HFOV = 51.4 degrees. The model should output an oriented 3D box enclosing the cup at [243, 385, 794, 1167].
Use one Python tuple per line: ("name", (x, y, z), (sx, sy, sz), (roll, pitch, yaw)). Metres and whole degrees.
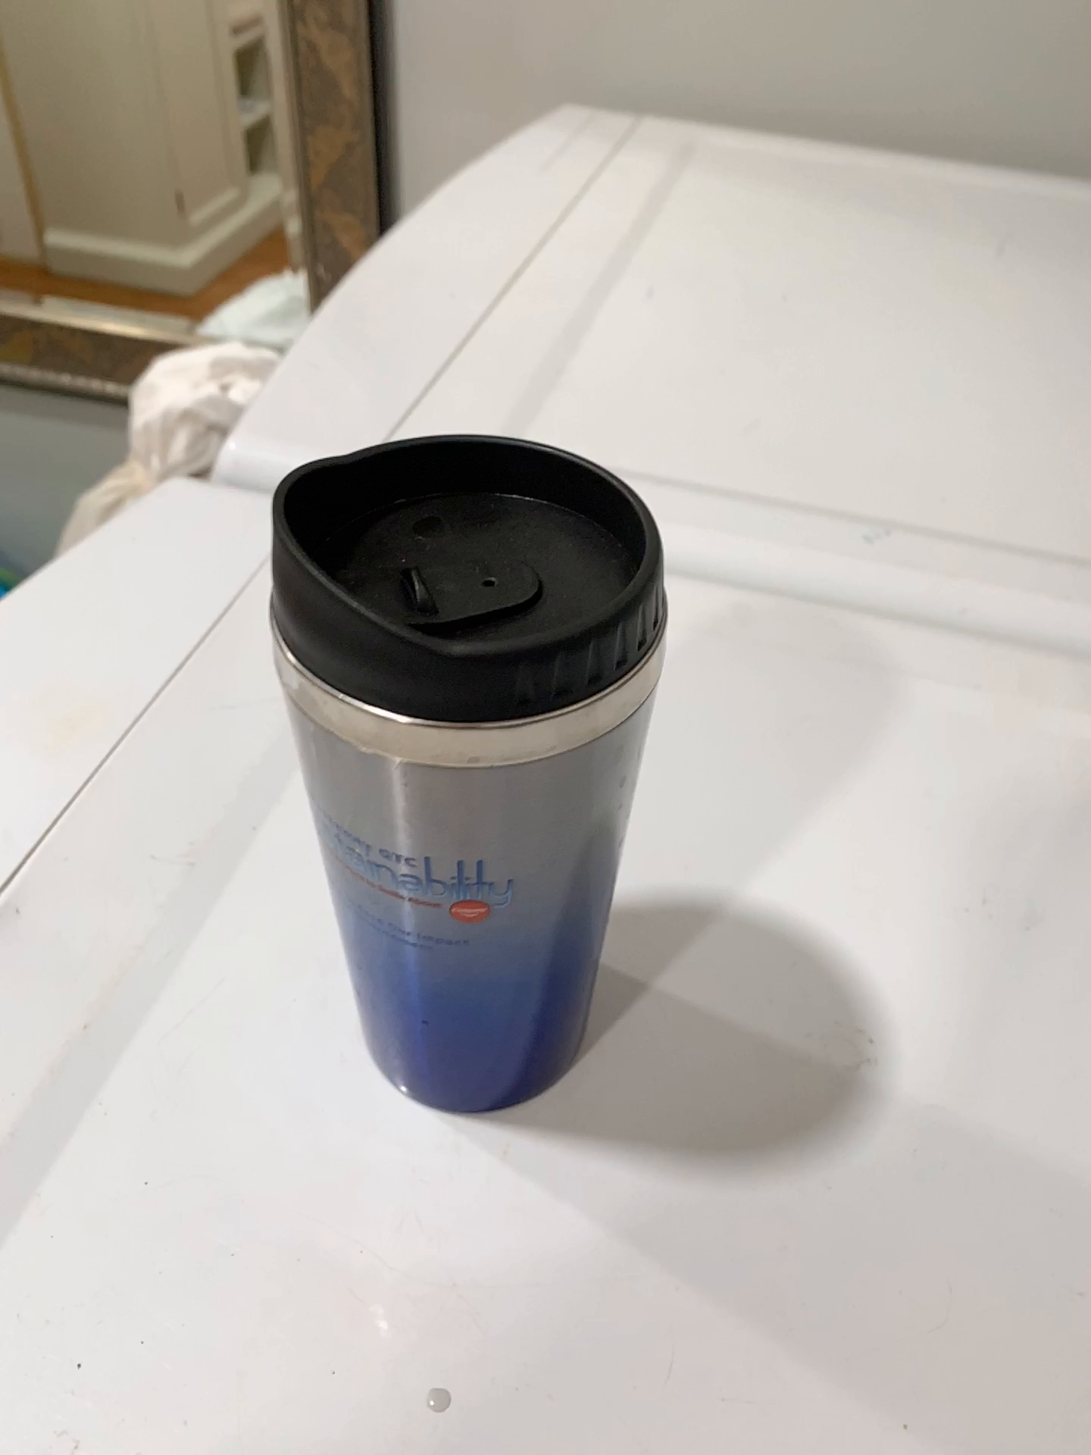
("cup", (-0.015, 0.018, 0.272), (0.089, 0.171, 0.080), (-7, 44, -12))
